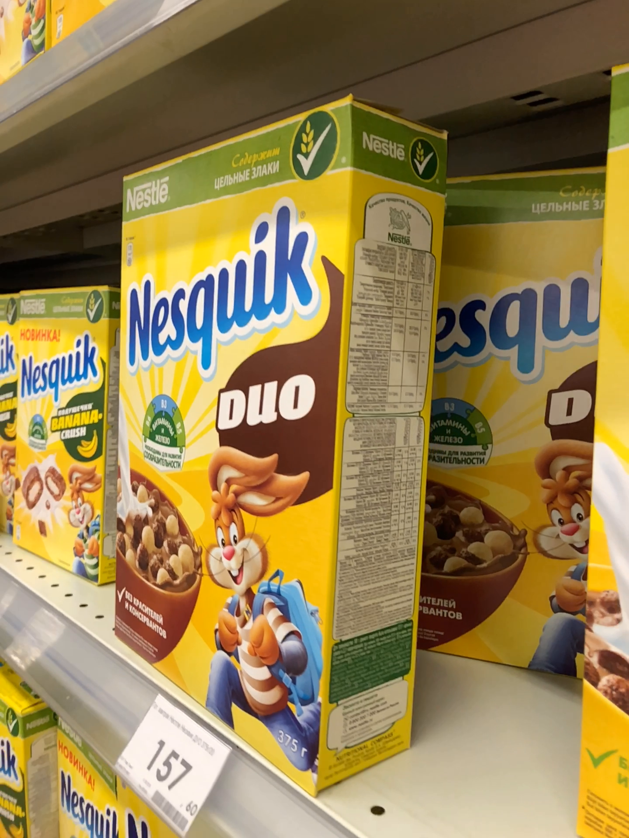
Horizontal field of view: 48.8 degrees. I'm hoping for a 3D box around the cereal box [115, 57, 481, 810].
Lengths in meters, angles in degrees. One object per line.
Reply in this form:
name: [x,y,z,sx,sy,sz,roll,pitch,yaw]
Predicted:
cereal box: [-0.027,0.000,0.352,0.060,0.280,0.200,0,6,-39]
